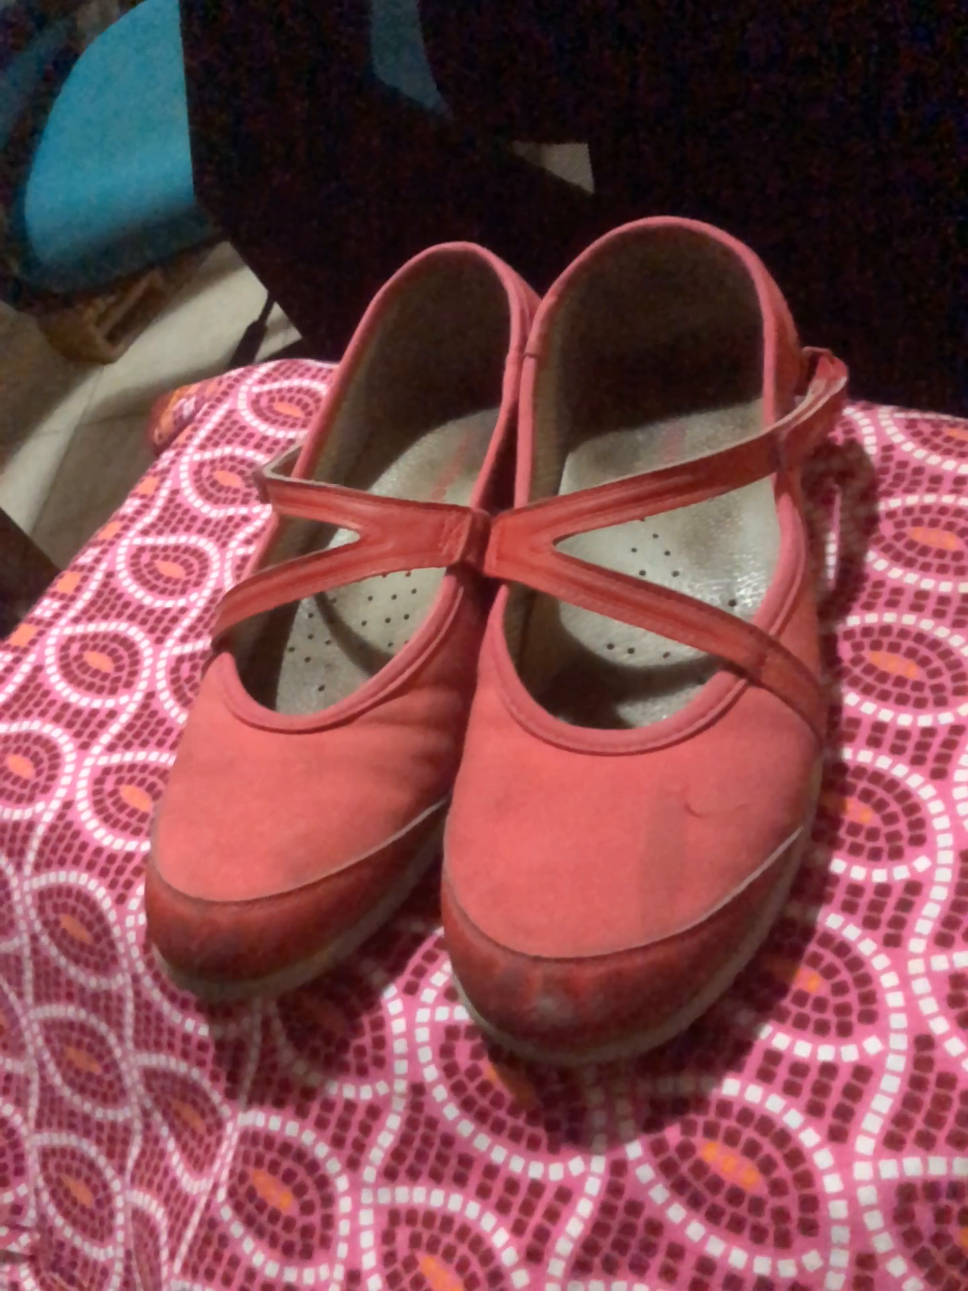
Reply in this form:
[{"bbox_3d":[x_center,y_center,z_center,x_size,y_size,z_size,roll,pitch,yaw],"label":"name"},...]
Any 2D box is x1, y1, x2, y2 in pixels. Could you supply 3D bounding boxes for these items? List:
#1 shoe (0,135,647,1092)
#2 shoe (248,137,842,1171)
[{"bbox_3d":[-0.033,-0.028,0.348,0.110,0.099,0.291,1,55,23],"label":"shoe"},{"bbox_3d":[0.046,-0.018,0.335,0.110,0.099,0.301,0,55,22],"label":"shoe"}]
